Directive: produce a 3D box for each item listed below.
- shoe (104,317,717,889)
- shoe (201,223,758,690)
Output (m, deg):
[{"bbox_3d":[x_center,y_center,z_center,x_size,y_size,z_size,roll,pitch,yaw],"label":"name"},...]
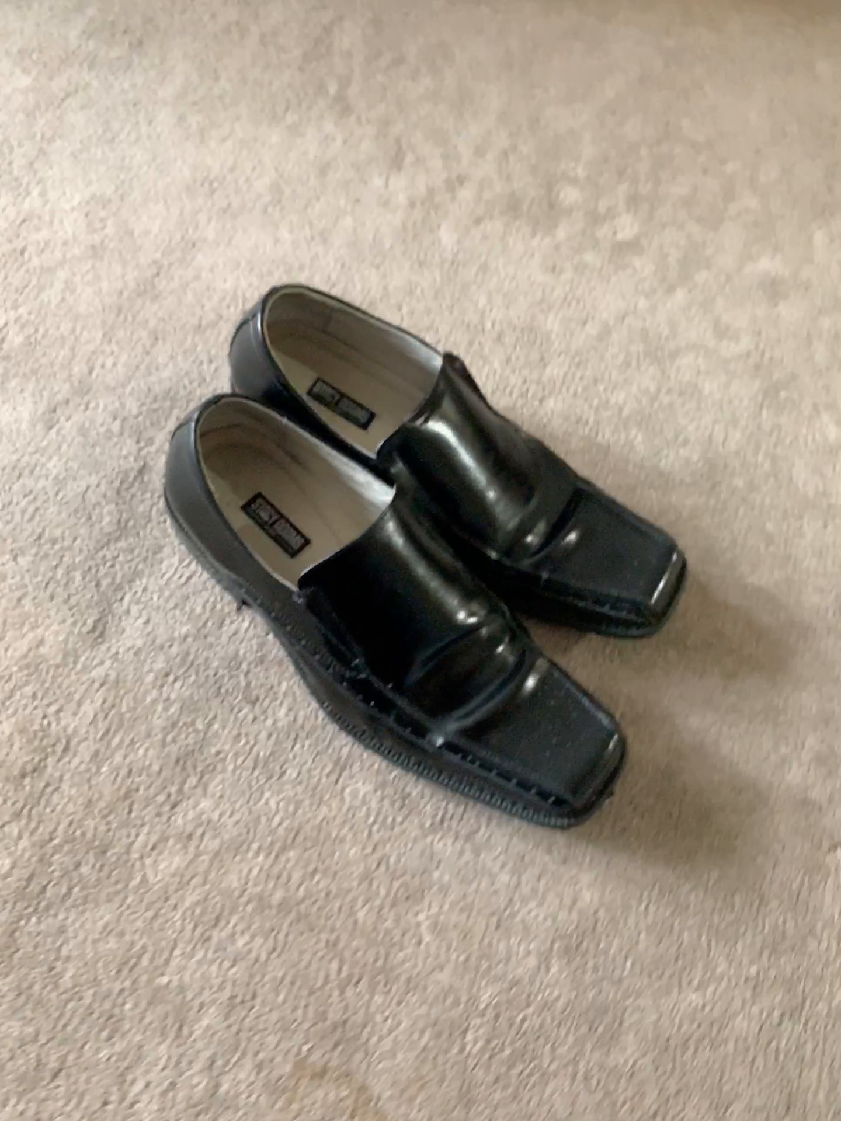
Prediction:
[{"bbox_3d":[-0.016,0.025,0.495,0.320,0.119,0.111,41,66,11],"label":"shoe"},{"bbox_3d":[0.028,-0.063,0.552,0.310,0.119,0.111,32,65,7],"label":"shoe"}]
